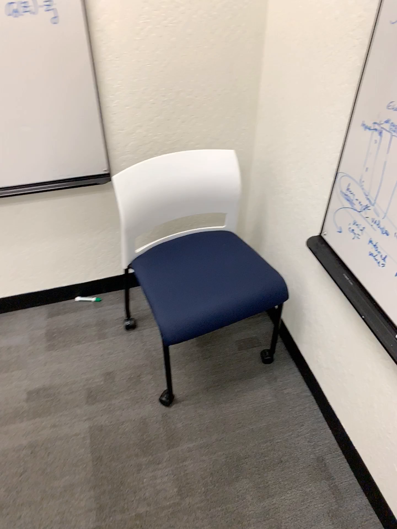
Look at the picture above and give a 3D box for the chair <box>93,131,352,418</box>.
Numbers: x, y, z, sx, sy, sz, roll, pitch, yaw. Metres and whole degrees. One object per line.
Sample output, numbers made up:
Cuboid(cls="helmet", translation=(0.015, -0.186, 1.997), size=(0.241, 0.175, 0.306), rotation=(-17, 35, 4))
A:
Cuboid(cls="chair", translation=(0.049, 0.026, 1.706), size=(0.700, 0.835, 0.643), rotation=(-17, 45, -19))
